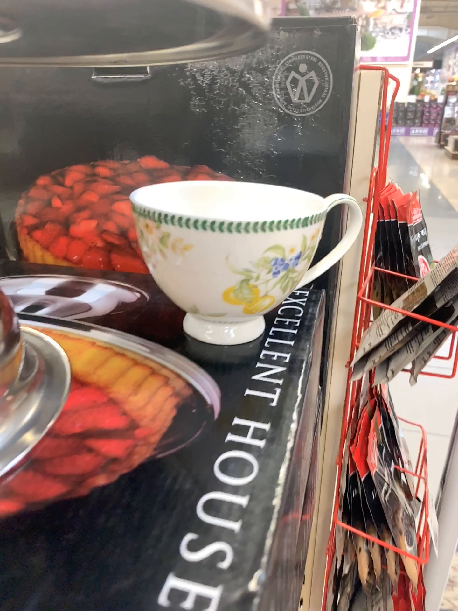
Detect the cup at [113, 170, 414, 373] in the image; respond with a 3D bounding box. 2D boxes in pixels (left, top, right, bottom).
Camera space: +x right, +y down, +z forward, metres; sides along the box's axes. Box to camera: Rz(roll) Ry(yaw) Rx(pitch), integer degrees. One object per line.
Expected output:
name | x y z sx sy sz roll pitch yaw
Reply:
cup | 0.011 -0.030 0.264 0.130 0.070 0.100 -8 26 -19
